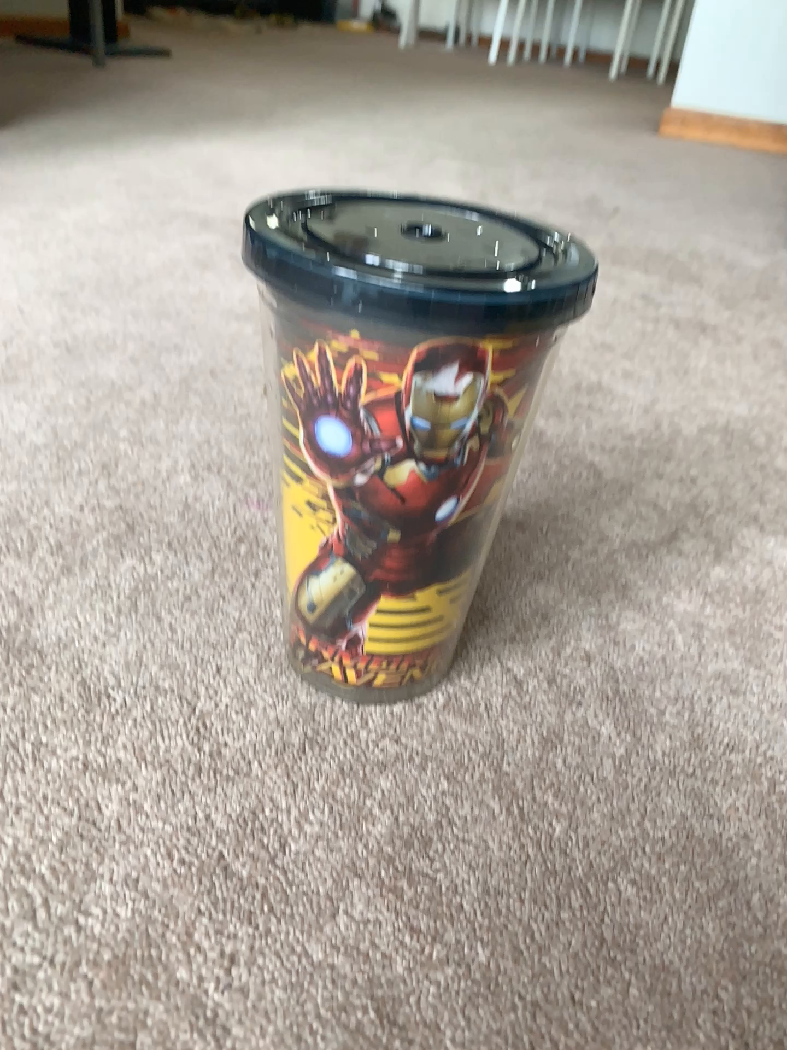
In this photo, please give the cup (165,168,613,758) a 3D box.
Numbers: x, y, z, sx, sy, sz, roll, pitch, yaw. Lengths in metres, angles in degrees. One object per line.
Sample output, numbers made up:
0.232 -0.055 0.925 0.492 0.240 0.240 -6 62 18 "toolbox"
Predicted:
0.000 -0.023 0.258 0.100 0.139 0.101 5 32 -3 "cup"
